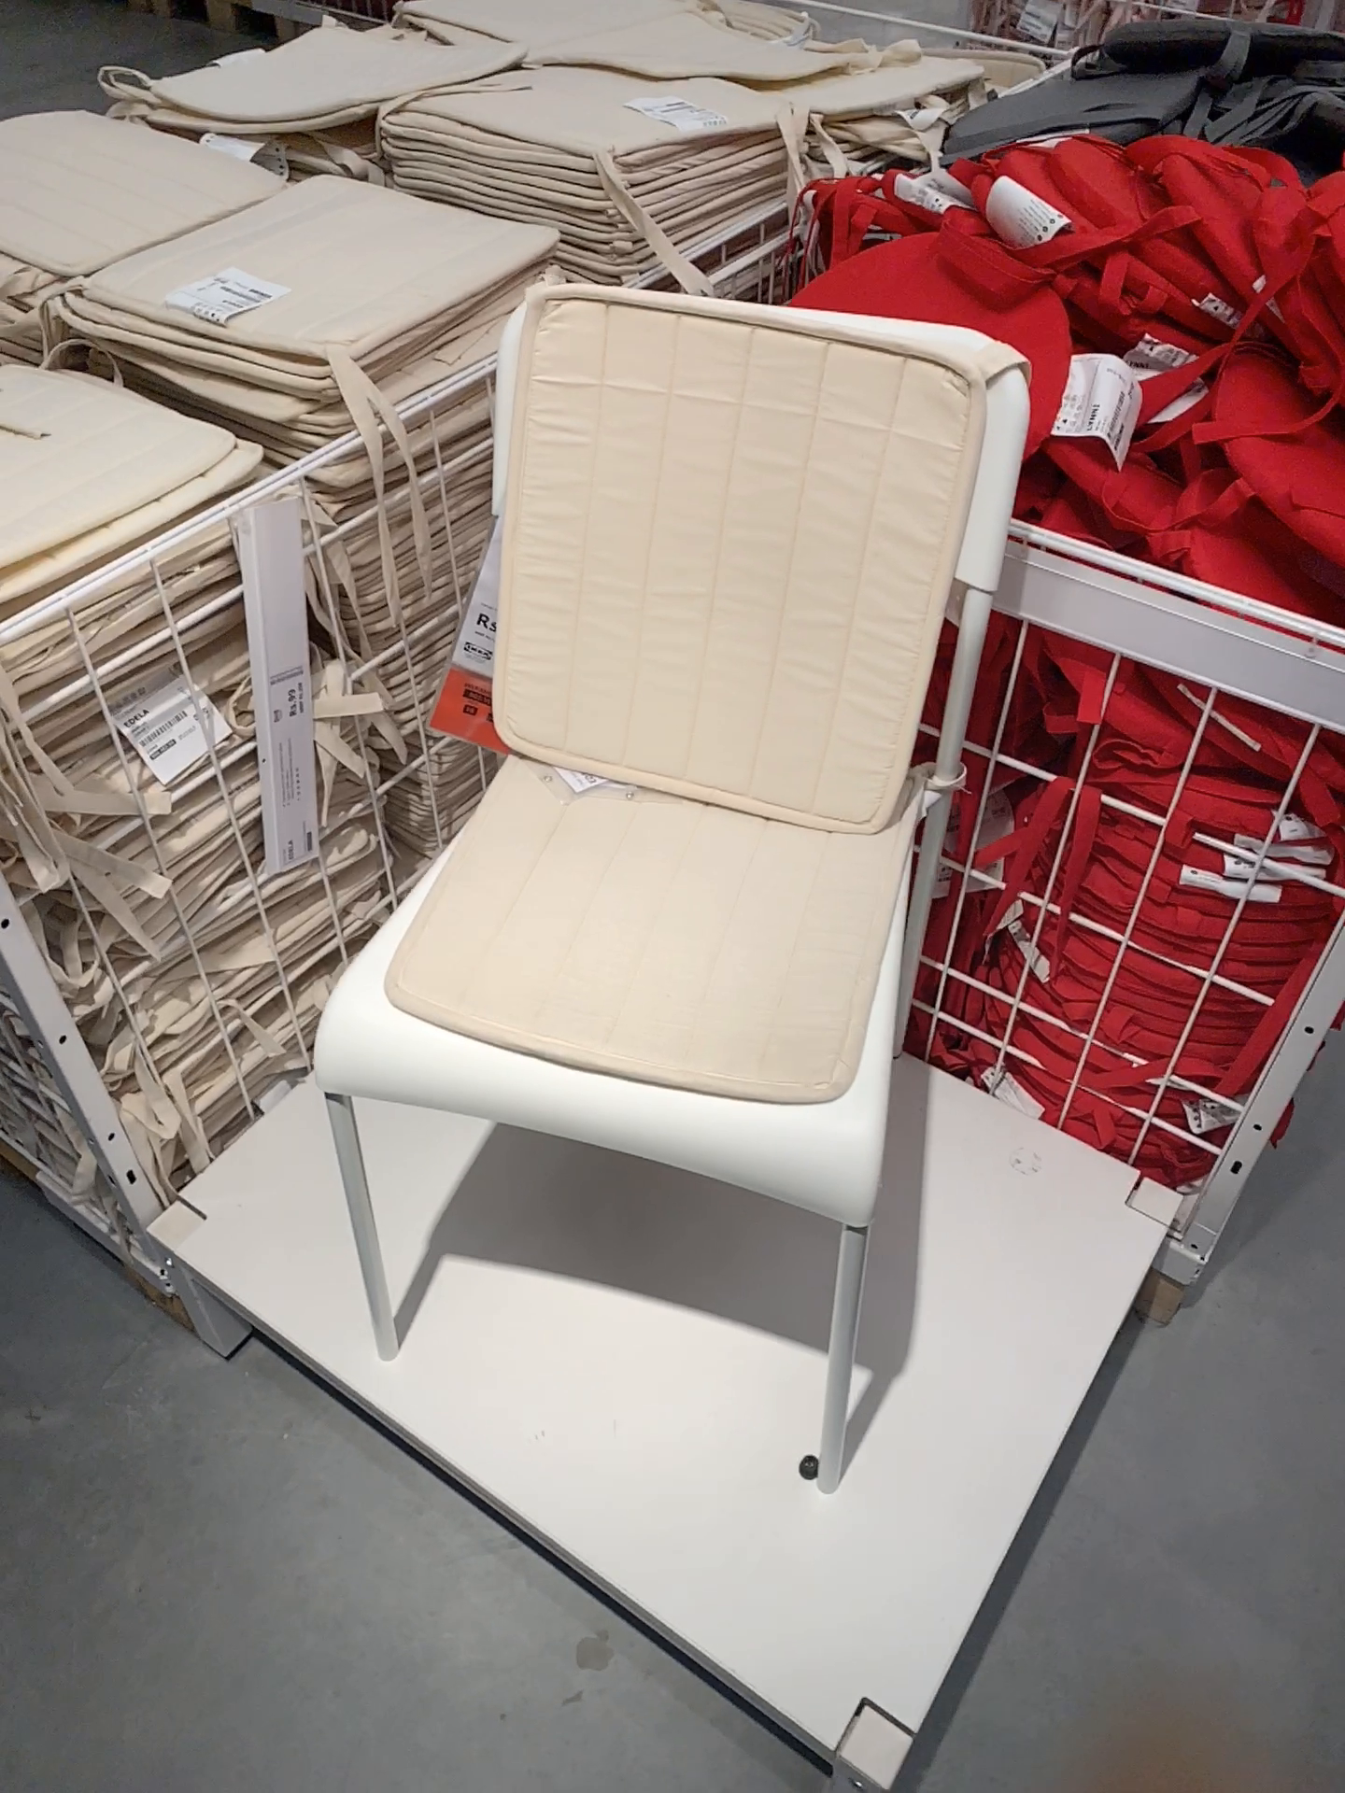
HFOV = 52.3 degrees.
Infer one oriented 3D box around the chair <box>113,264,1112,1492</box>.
[{"bbox_3d":[0.010,0.003,1.012,0.430,0.697,0.482,12,46,12],"label":"chair"}]
